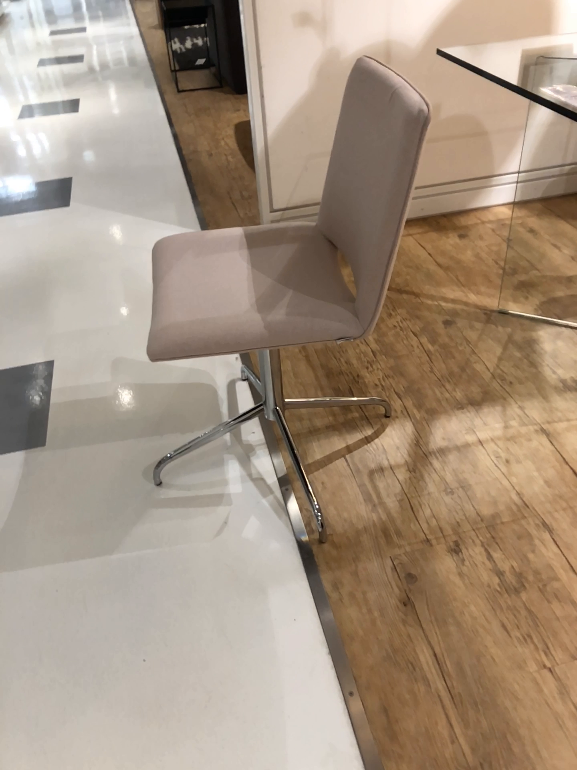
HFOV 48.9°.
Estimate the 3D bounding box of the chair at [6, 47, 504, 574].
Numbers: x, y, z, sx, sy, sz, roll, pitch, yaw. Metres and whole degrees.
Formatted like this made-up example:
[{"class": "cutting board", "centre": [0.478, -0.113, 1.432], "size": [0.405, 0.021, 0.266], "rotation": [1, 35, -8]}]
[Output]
[{"class": "chair", "centre": [-0.060, -0.175, 1.278], "size": [0.630, 0.744, 0.655], "rotation": [-9, 38, -5]}]
